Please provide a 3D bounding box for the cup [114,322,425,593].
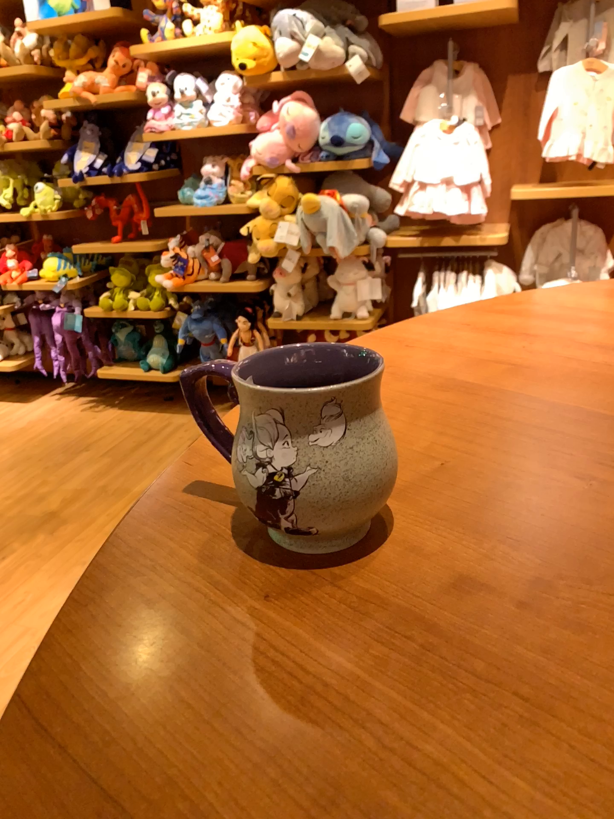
[{"bbox_3d":[-0.019,0.015,0.384,0.140,0.099,0.115,12,27,36],"label":"cup"}]
